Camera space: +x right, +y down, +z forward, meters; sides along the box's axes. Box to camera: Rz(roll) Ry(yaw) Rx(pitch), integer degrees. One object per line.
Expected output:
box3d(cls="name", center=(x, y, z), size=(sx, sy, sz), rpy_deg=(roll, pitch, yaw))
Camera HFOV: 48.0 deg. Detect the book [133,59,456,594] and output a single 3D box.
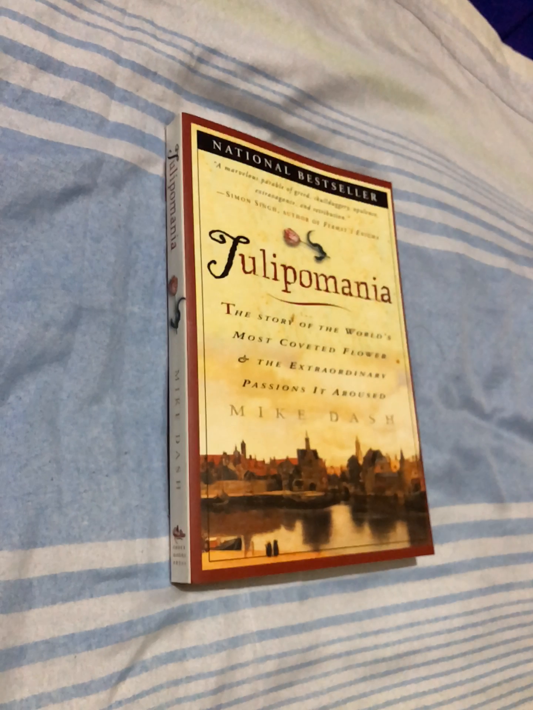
box3d(cls="book", center=(0.011, -0.012, 0.301), size=(0.141, 0.050, 0.230), rpy_deg=(7, 70, -34))
